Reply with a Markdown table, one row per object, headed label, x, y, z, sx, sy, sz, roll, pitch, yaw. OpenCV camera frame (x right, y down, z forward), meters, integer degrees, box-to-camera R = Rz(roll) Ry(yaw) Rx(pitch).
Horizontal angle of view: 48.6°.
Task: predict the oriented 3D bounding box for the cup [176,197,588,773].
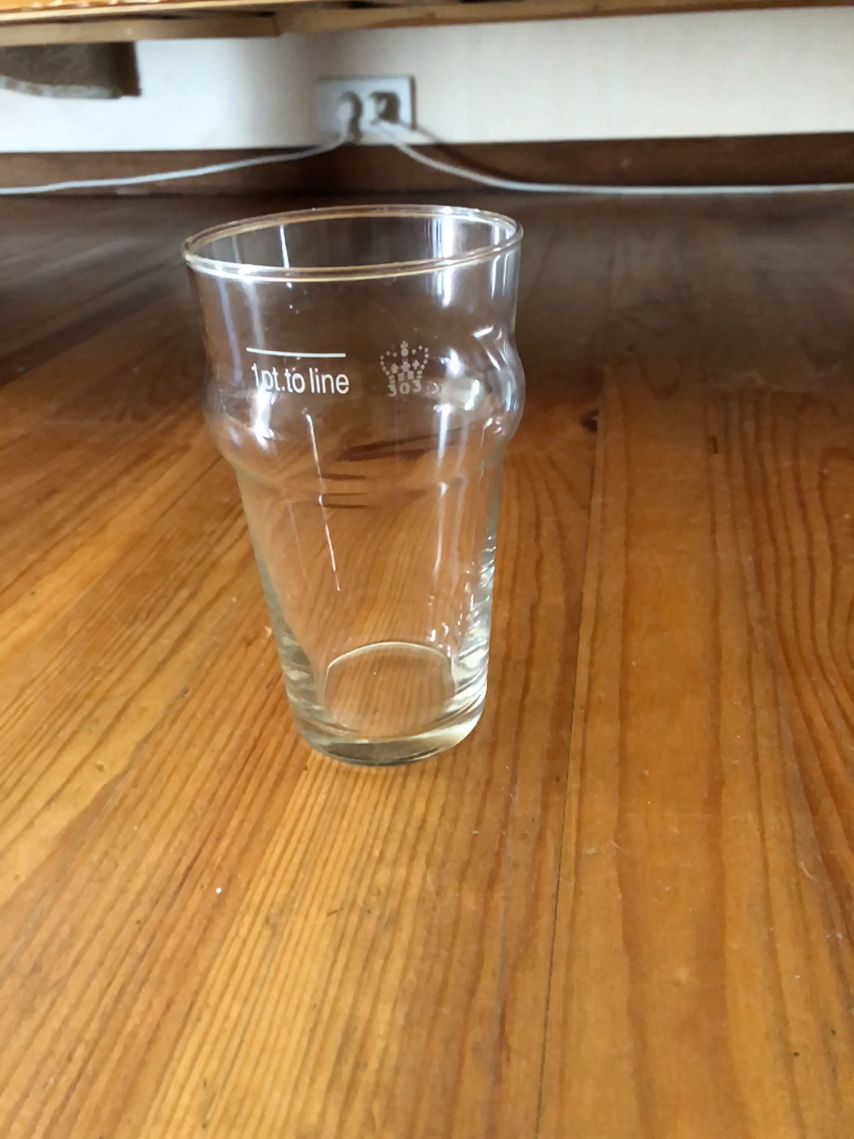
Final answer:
| label | x | y | z | sx | sy | sz | roll | pitch | yaw |
| --- | --- | --- | --- | --- | --- | --- | --- | --- | --- |
| cup | -0.006 | -0.025 | 0.295 | 0.094 | 0.151 | 0.092 | -2 | 32 | 1 |
